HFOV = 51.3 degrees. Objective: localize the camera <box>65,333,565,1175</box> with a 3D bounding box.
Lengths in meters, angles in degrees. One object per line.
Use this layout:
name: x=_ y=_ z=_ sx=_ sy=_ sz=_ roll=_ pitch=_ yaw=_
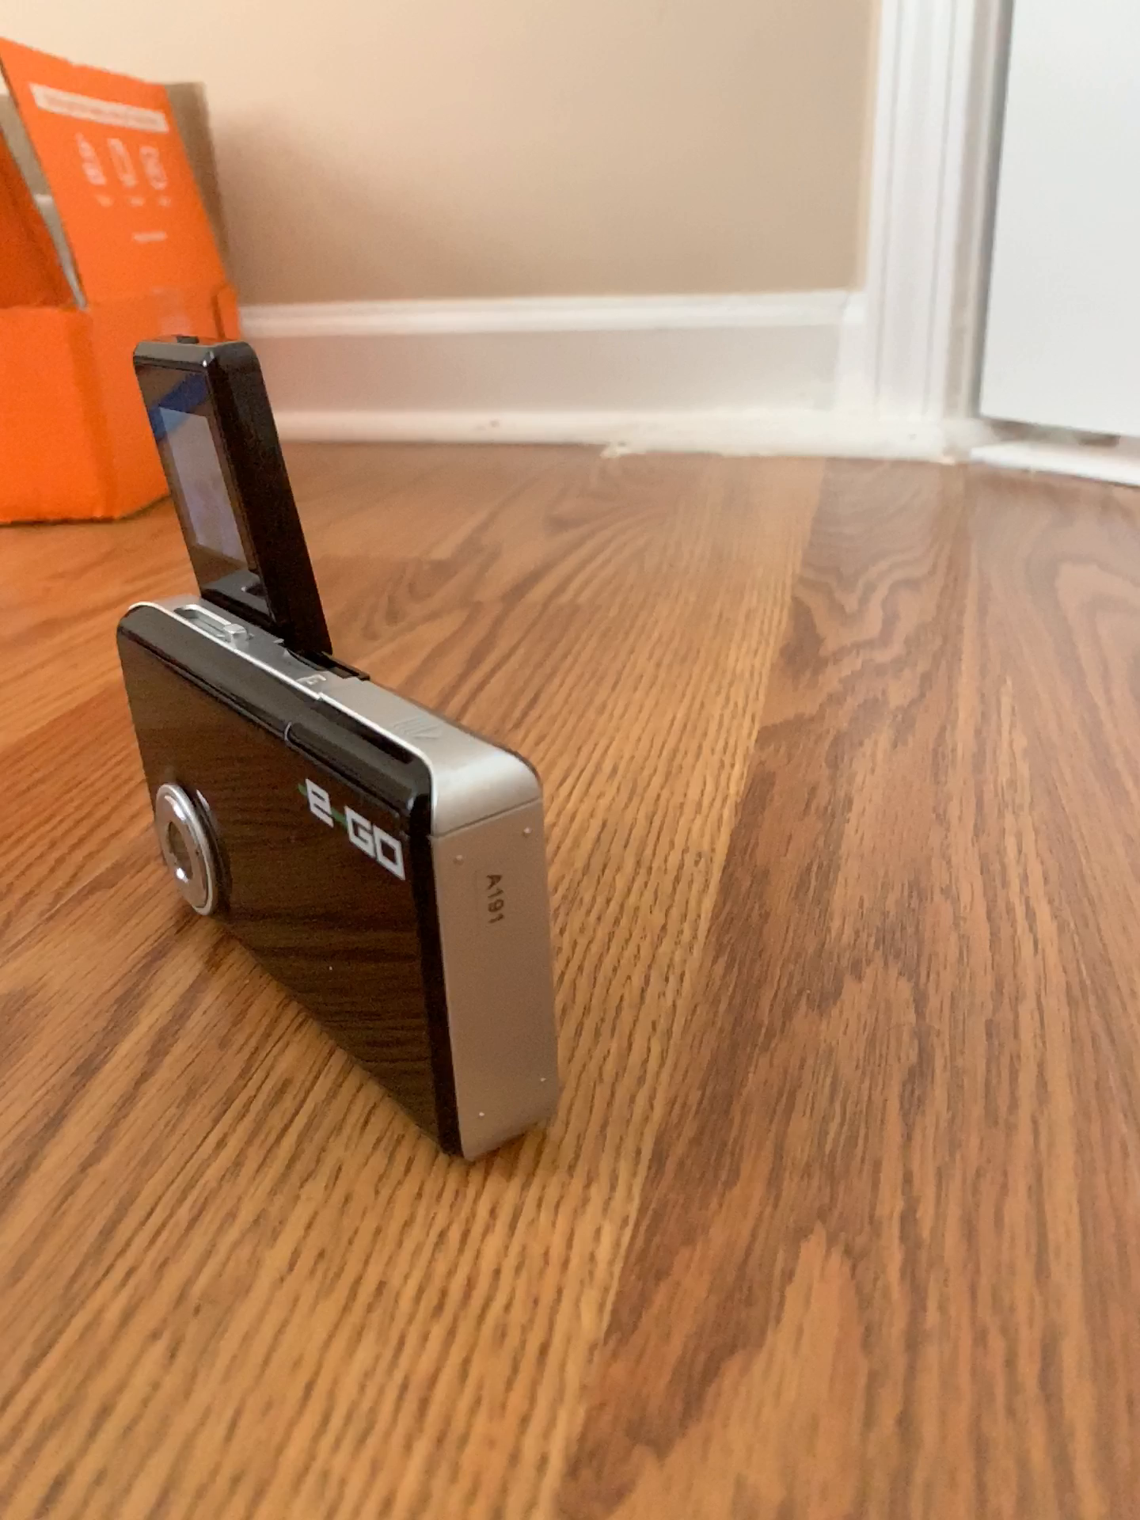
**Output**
camera: x=-0.047 y=-0.011 z=0.202 sx=0.022 sy=0.111 sz=0.119 roll=-18 pitch=27 yaw=-32
